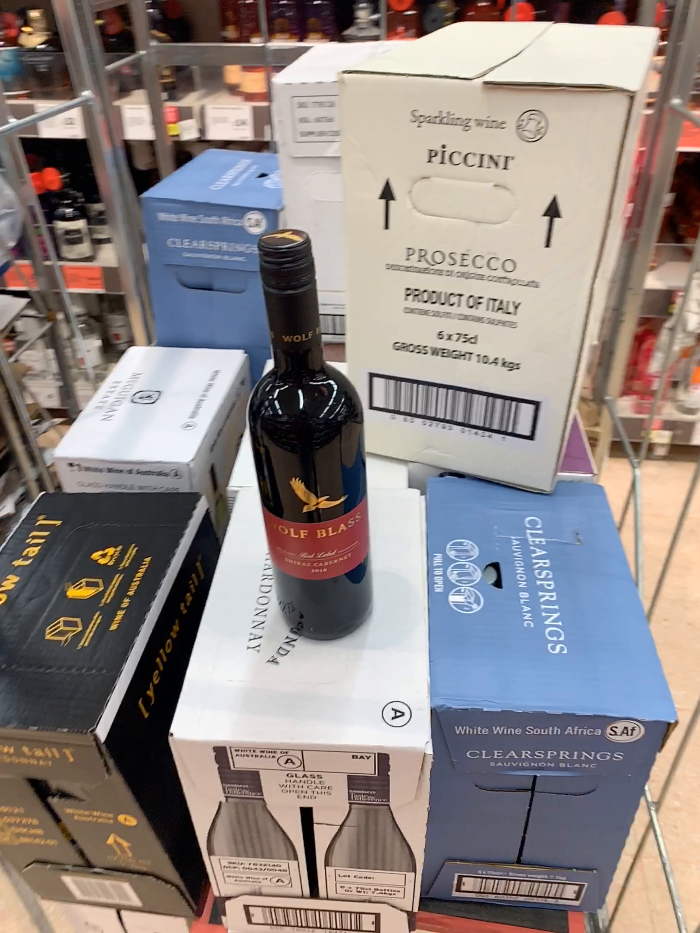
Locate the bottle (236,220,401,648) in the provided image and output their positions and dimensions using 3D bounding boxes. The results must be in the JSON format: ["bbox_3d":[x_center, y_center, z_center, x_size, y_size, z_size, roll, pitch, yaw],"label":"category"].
[{"bbox_3d":[-0.017,-0.007,0.457,0.080,0.270,0.076,-1,36,0],"label":"bottle"}]
